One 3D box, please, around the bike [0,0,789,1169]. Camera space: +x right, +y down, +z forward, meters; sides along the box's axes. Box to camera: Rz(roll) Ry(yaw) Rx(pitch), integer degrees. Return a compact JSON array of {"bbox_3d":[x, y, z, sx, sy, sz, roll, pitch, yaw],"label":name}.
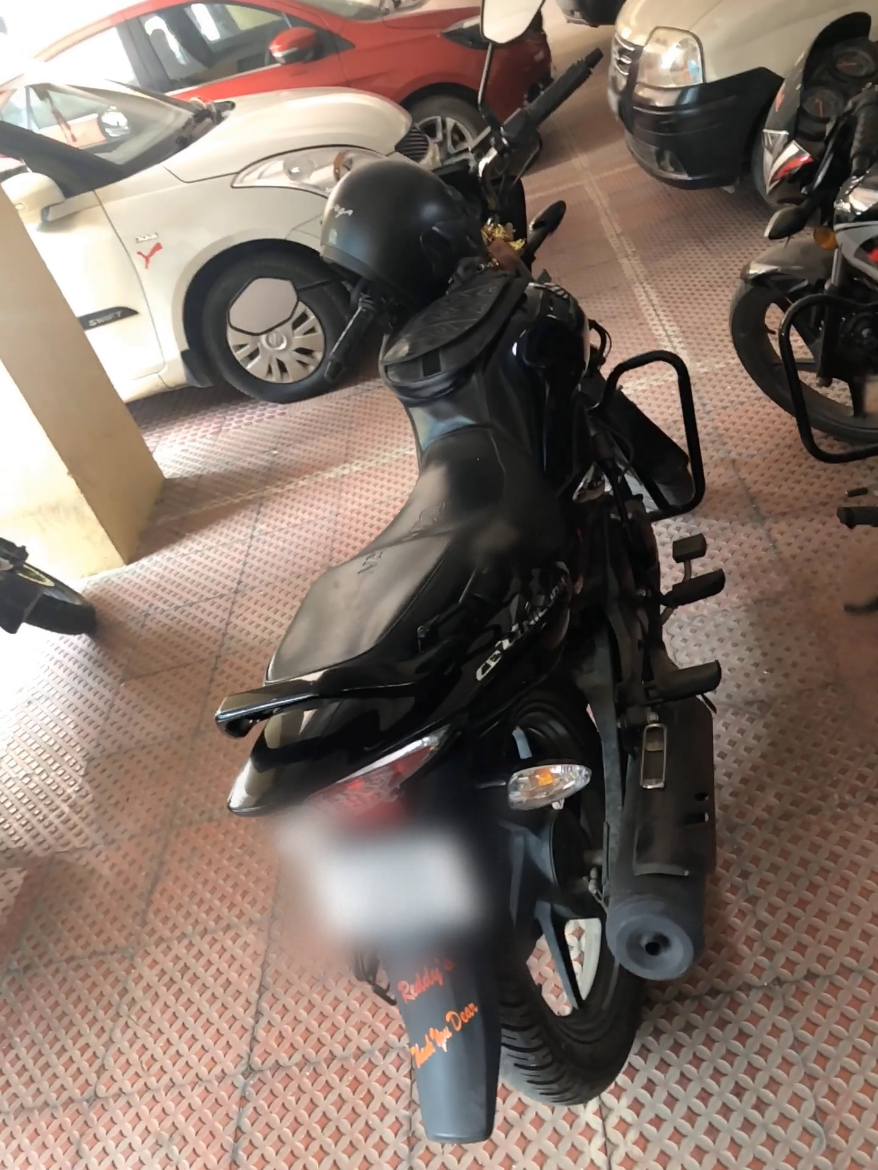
[{"bbox_3d":[-0.036,-0.137,1.757,0.804,1.200,1.692,-11,37,15],"label":"bike"}]
